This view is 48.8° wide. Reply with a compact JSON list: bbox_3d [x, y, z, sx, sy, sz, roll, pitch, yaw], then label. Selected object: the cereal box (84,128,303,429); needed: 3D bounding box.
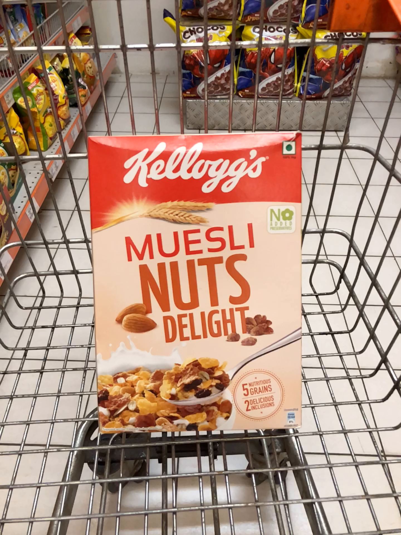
[{"bbox_3d":[-0.004,0.009,0.405,0.180,0.250,0.070,-1,4,-1],"label":"cereal box"}]
